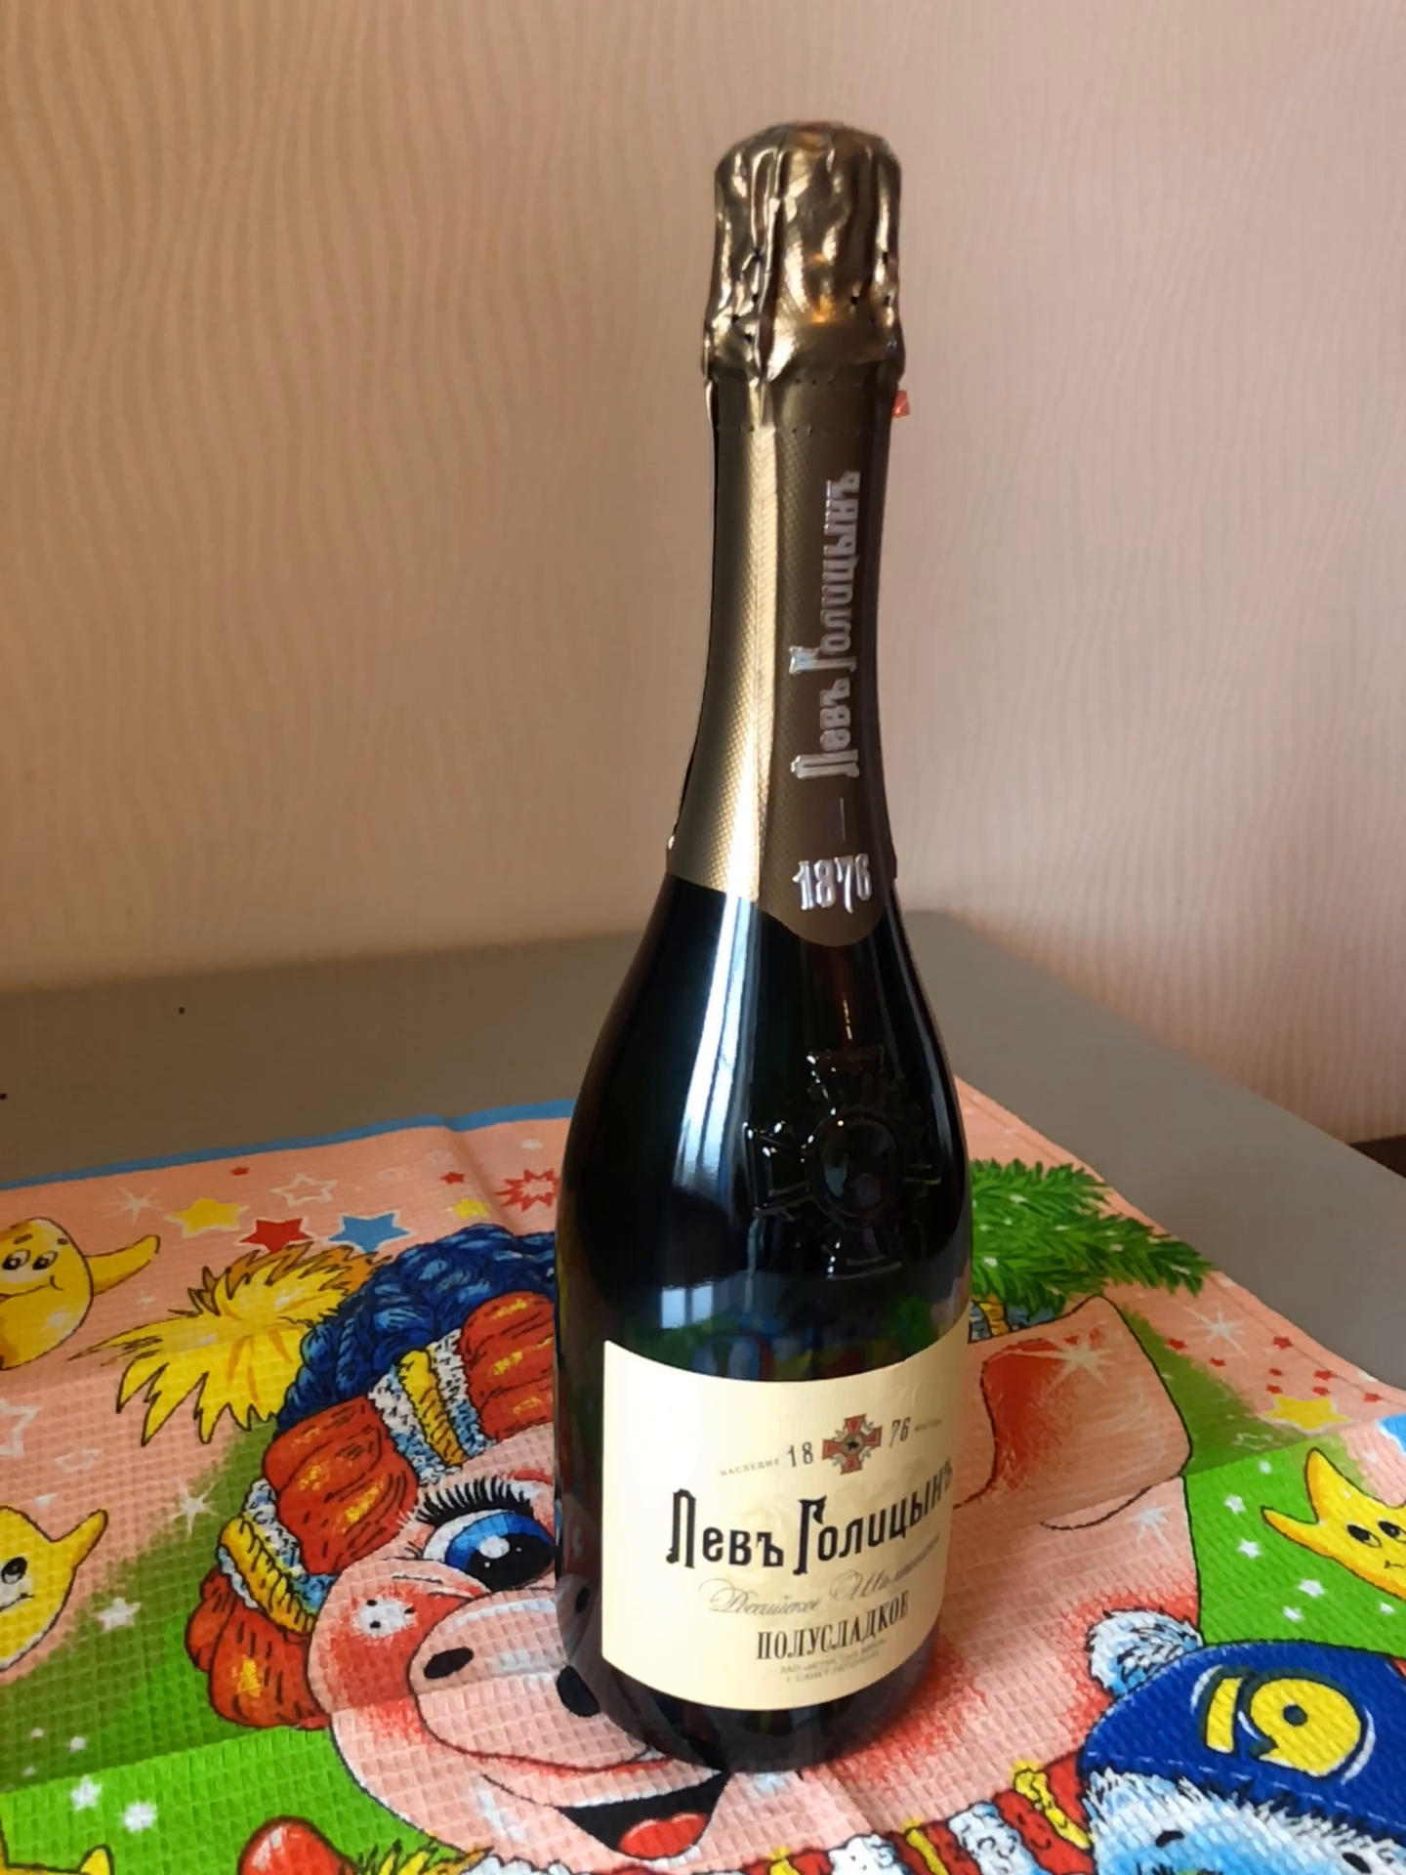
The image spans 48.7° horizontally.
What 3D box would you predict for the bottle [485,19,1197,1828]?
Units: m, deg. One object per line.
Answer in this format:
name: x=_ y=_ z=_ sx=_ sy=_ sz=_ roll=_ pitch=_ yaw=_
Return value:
bottle: x=0.014 y=0.007 z=0.310 sx=0.090 sy=0.309 sz=0.093 roll=1 pitch=17 yaw=0
